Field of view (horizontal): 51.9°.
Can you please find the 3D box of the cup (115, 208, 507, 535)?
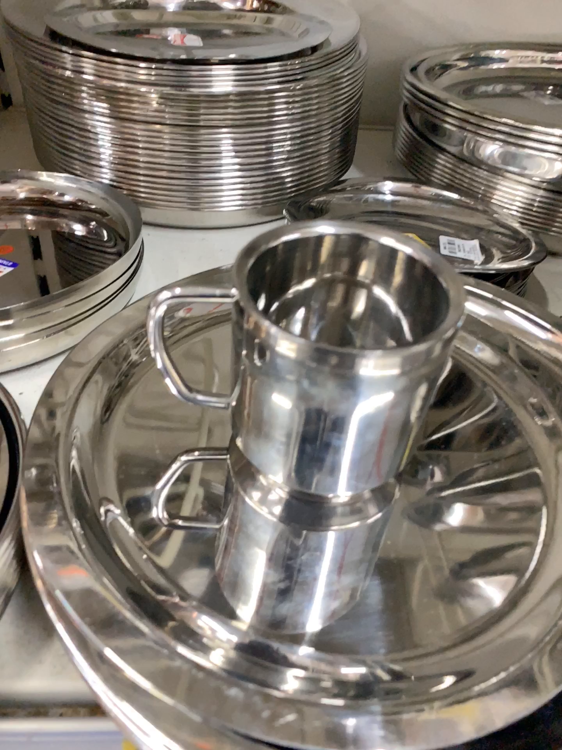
[{"bbox_3d":[0.006,-0.002,0.182,0.090,0.070,0.070,2,42,-2],"label":"cup"}]
